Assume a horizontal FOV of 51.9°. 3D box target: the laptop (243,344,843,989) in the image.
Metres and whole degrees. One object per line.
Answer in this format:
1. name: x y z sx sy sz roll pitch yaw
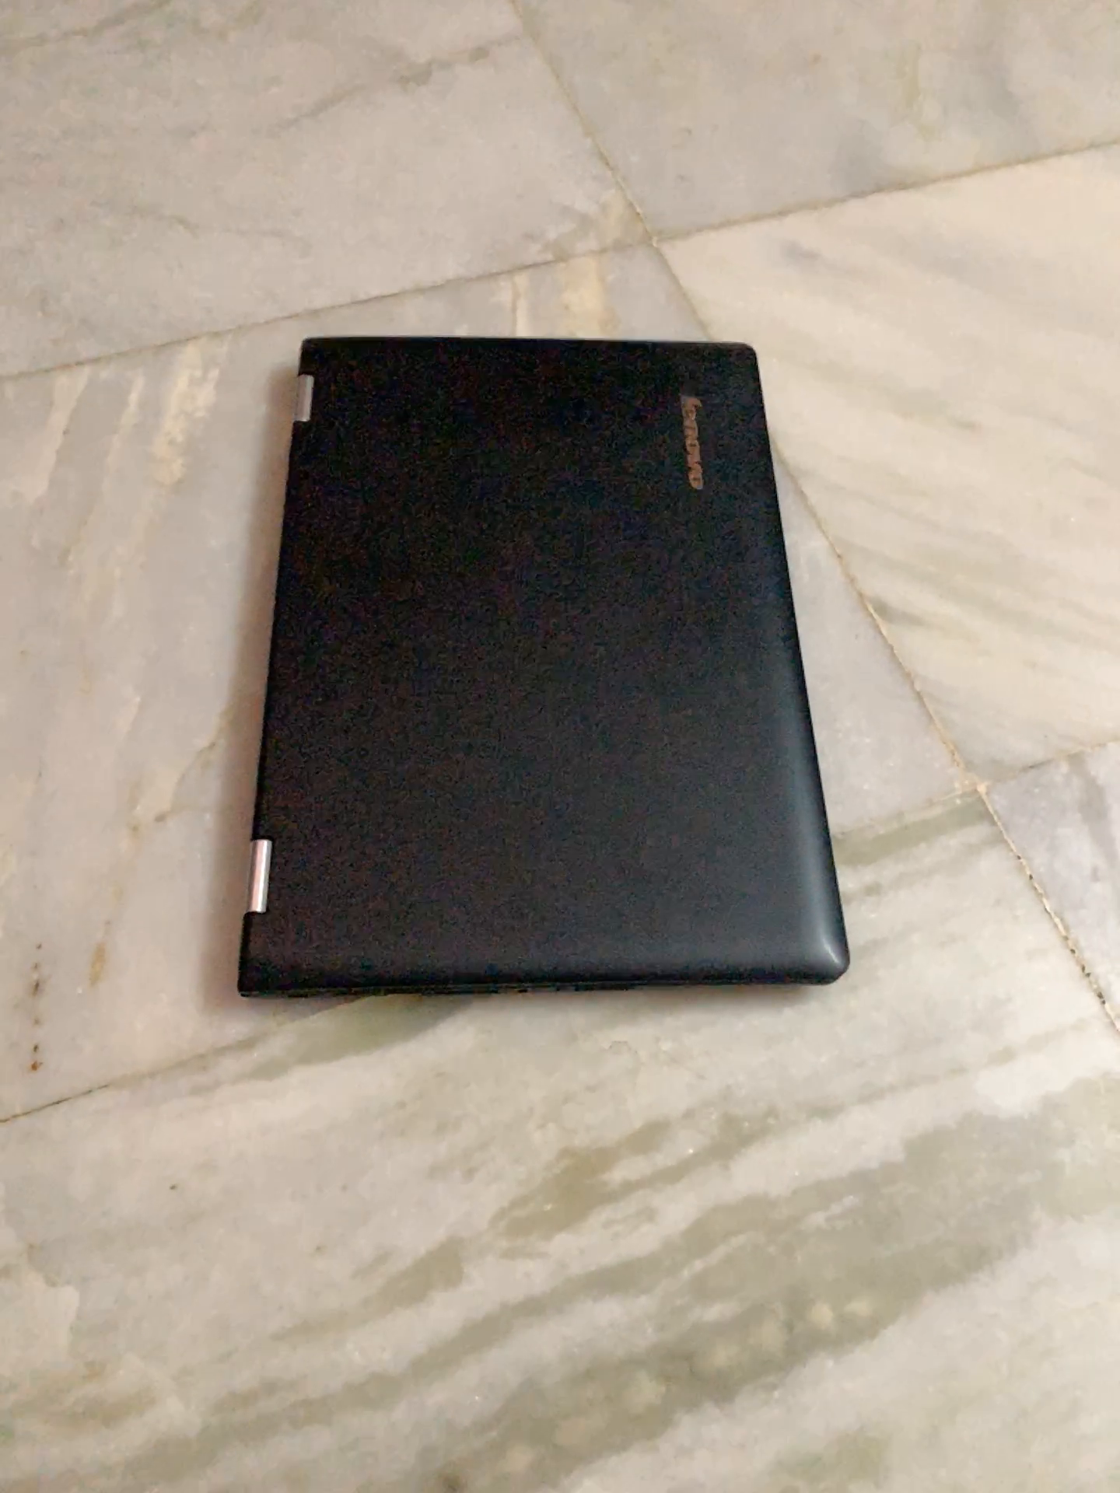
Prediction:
1. laptop: -0.009 -0.056 0.504 0.223 0.001 0.326 0 62 -4
